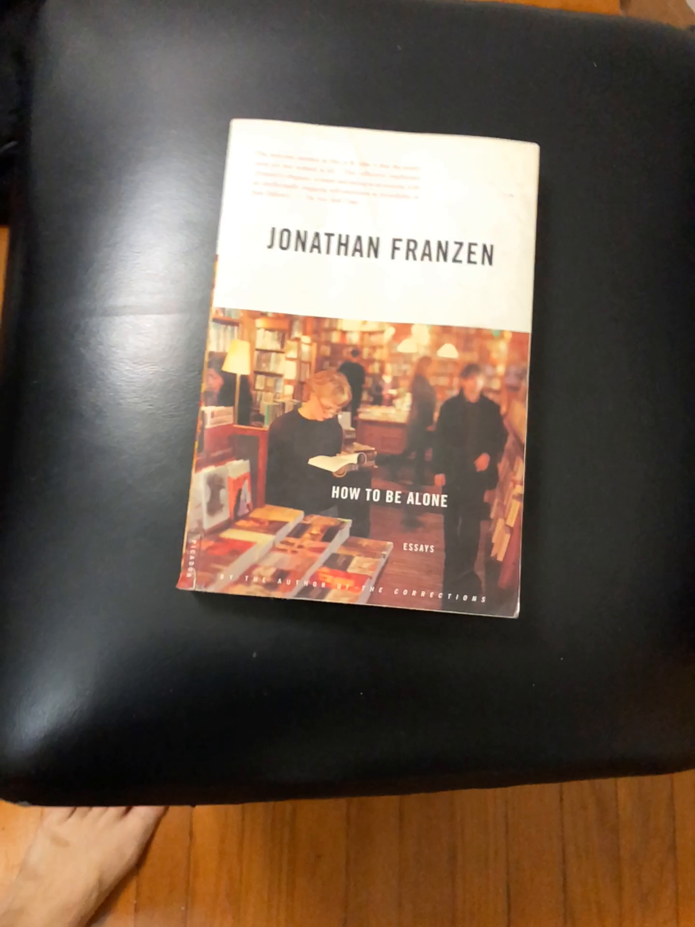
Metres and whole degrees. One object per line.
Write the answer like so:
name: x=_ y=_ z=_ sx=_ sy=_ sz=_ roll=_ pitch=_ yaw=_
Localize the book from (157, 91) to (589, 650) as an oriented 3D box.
book: x=0.015 y=-0.045 z=0.341 sx=0.160 sy=0.040 sz=0.230 roll=5 pitch=81 yaw=5
